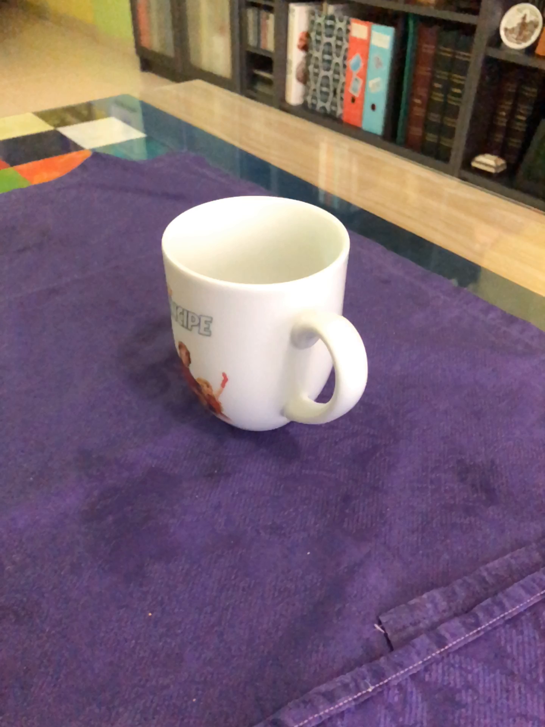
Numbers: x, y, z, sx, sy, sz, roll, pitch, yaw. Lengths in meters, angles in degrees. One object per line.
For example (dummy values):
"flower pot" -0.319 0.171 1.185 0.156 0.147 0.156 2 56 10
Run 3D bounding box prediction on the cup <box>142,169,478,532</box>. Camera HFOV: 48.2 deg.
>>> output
"cup" 0.008 -0.014 0.267 0.080 0.090 0.120 -19 43 -23
